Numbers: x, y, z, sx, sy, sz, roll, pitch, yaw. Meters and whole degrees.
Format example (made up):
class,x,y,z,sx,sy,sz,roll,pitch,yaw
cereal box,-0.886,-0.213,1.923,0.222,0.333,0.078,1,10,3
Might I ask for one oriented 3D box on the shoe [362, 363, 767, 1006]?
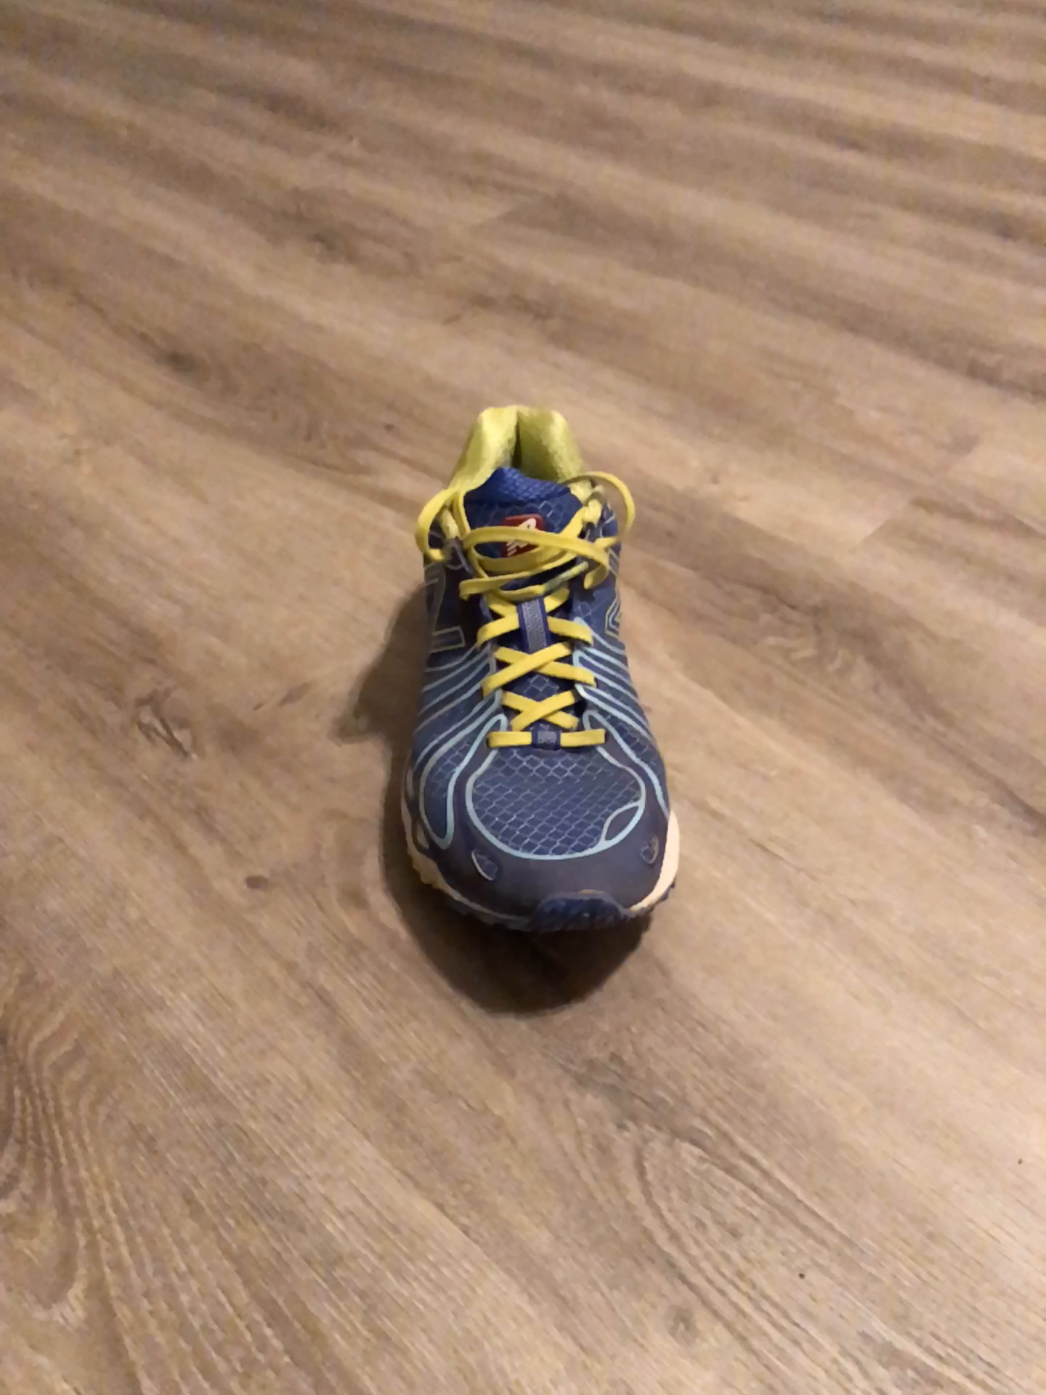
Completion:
class,x,y,z,sx,sy,sz,roll,pitch,yaw
shoe,0.004,-0.022,0.441,0.110,0.100,0.251,-2,42,-3
